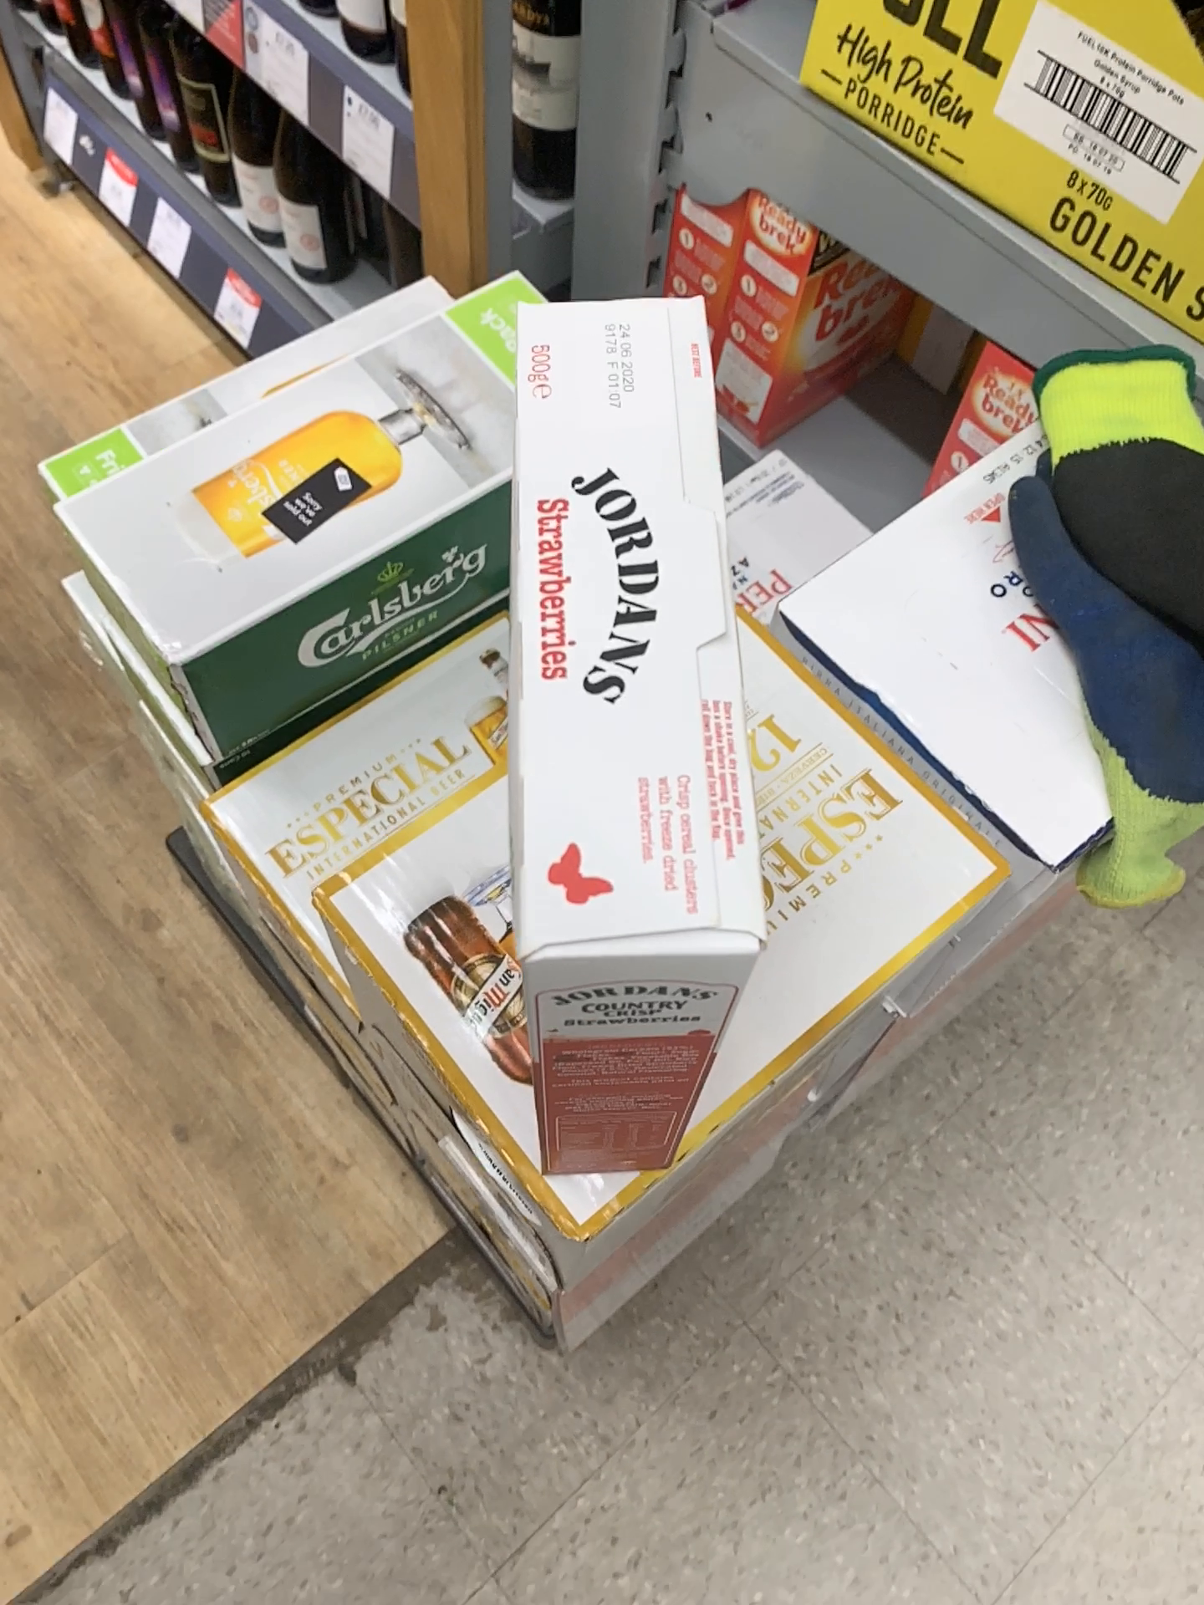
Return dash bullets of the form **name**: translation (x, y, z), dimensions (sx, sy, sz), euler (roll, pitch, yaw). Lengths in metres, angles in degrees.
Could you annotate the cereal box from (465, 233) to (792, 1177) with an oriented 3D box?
- **cereal box**: translation (0.000, -0.003, 0.380), dimensions (0.060, 0.249, 0.191), euler (-1, 65, -2)
